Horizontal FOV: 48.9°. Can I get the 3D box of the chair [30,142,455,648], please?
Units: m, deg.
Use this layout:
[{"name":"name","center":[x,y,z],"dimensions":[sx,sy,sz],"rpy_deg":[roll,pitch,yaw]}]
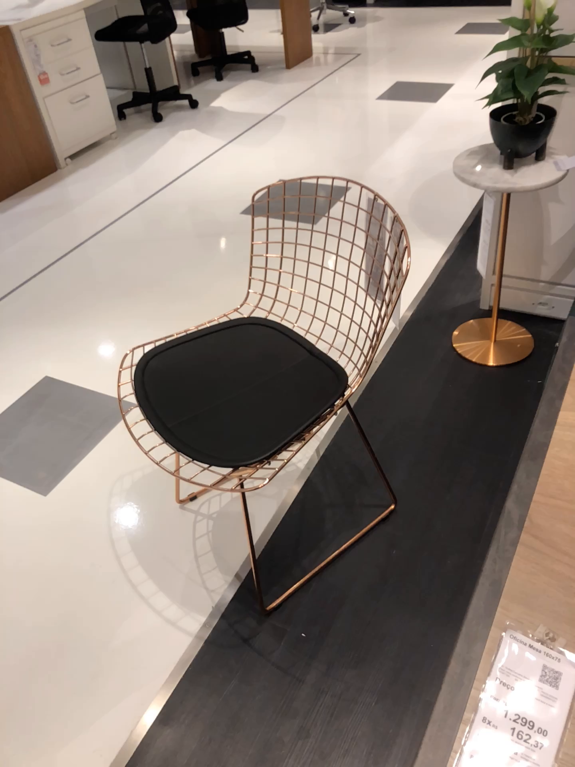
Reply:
[{"name":"chair","center":[-0.057,0.004,1.322],"dimensions":[0.541,0.744,0.523],"rpy_deg":[-30,44,-24]}]
